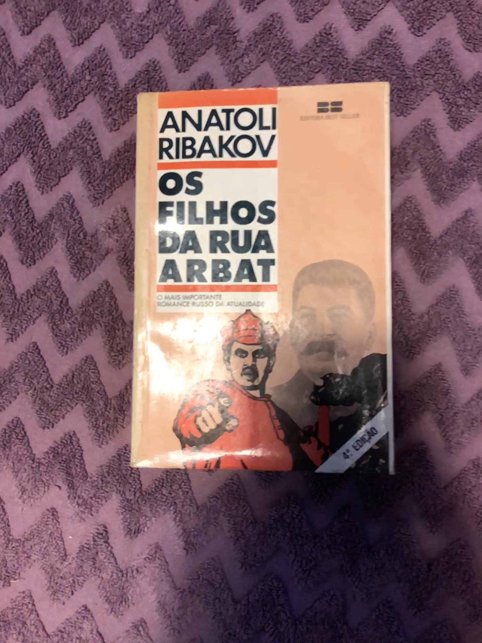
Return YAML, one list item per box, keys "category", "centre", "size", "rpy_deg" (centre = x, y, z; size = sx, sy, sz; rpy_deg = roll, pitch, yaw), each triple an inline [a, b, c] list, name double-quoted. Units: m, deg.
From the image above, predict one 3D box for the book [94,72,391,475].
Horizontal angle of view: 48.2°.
- category: "book"
  centre: [0.001, -0.022, 0.279]
  size: [0.140, 0.040, 0.190]
  rpy_deg: [-1, 90, 4]
